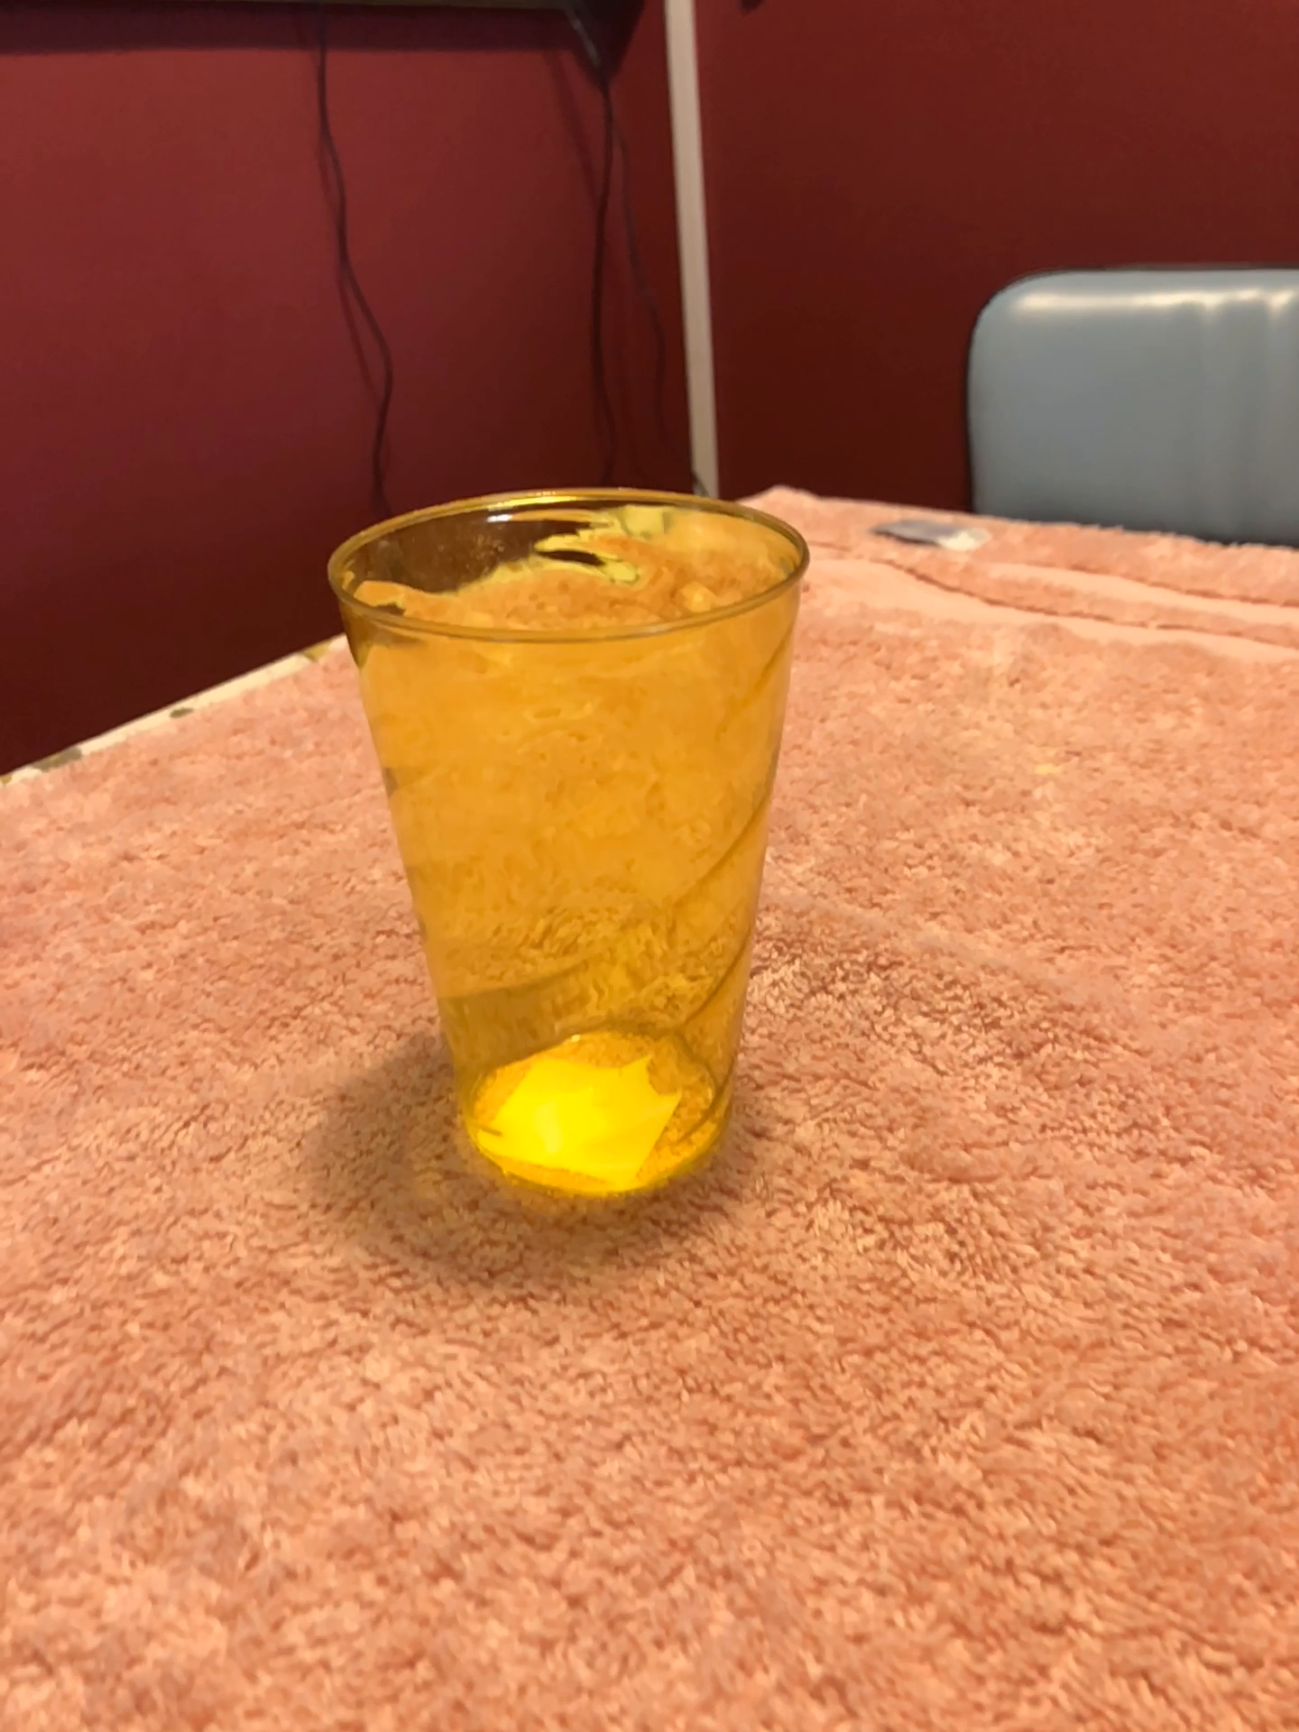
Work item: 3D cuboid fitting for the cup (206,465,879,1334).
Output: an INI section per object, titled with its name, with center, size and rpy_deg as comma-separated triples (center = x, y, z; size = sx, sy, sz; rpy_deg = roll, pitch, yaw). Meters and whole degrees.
[cup]
center = -0.015, -0.001, 0.266
size = 0.080, 0.119, 0.080
rpy_deg = -3, 27, 2
